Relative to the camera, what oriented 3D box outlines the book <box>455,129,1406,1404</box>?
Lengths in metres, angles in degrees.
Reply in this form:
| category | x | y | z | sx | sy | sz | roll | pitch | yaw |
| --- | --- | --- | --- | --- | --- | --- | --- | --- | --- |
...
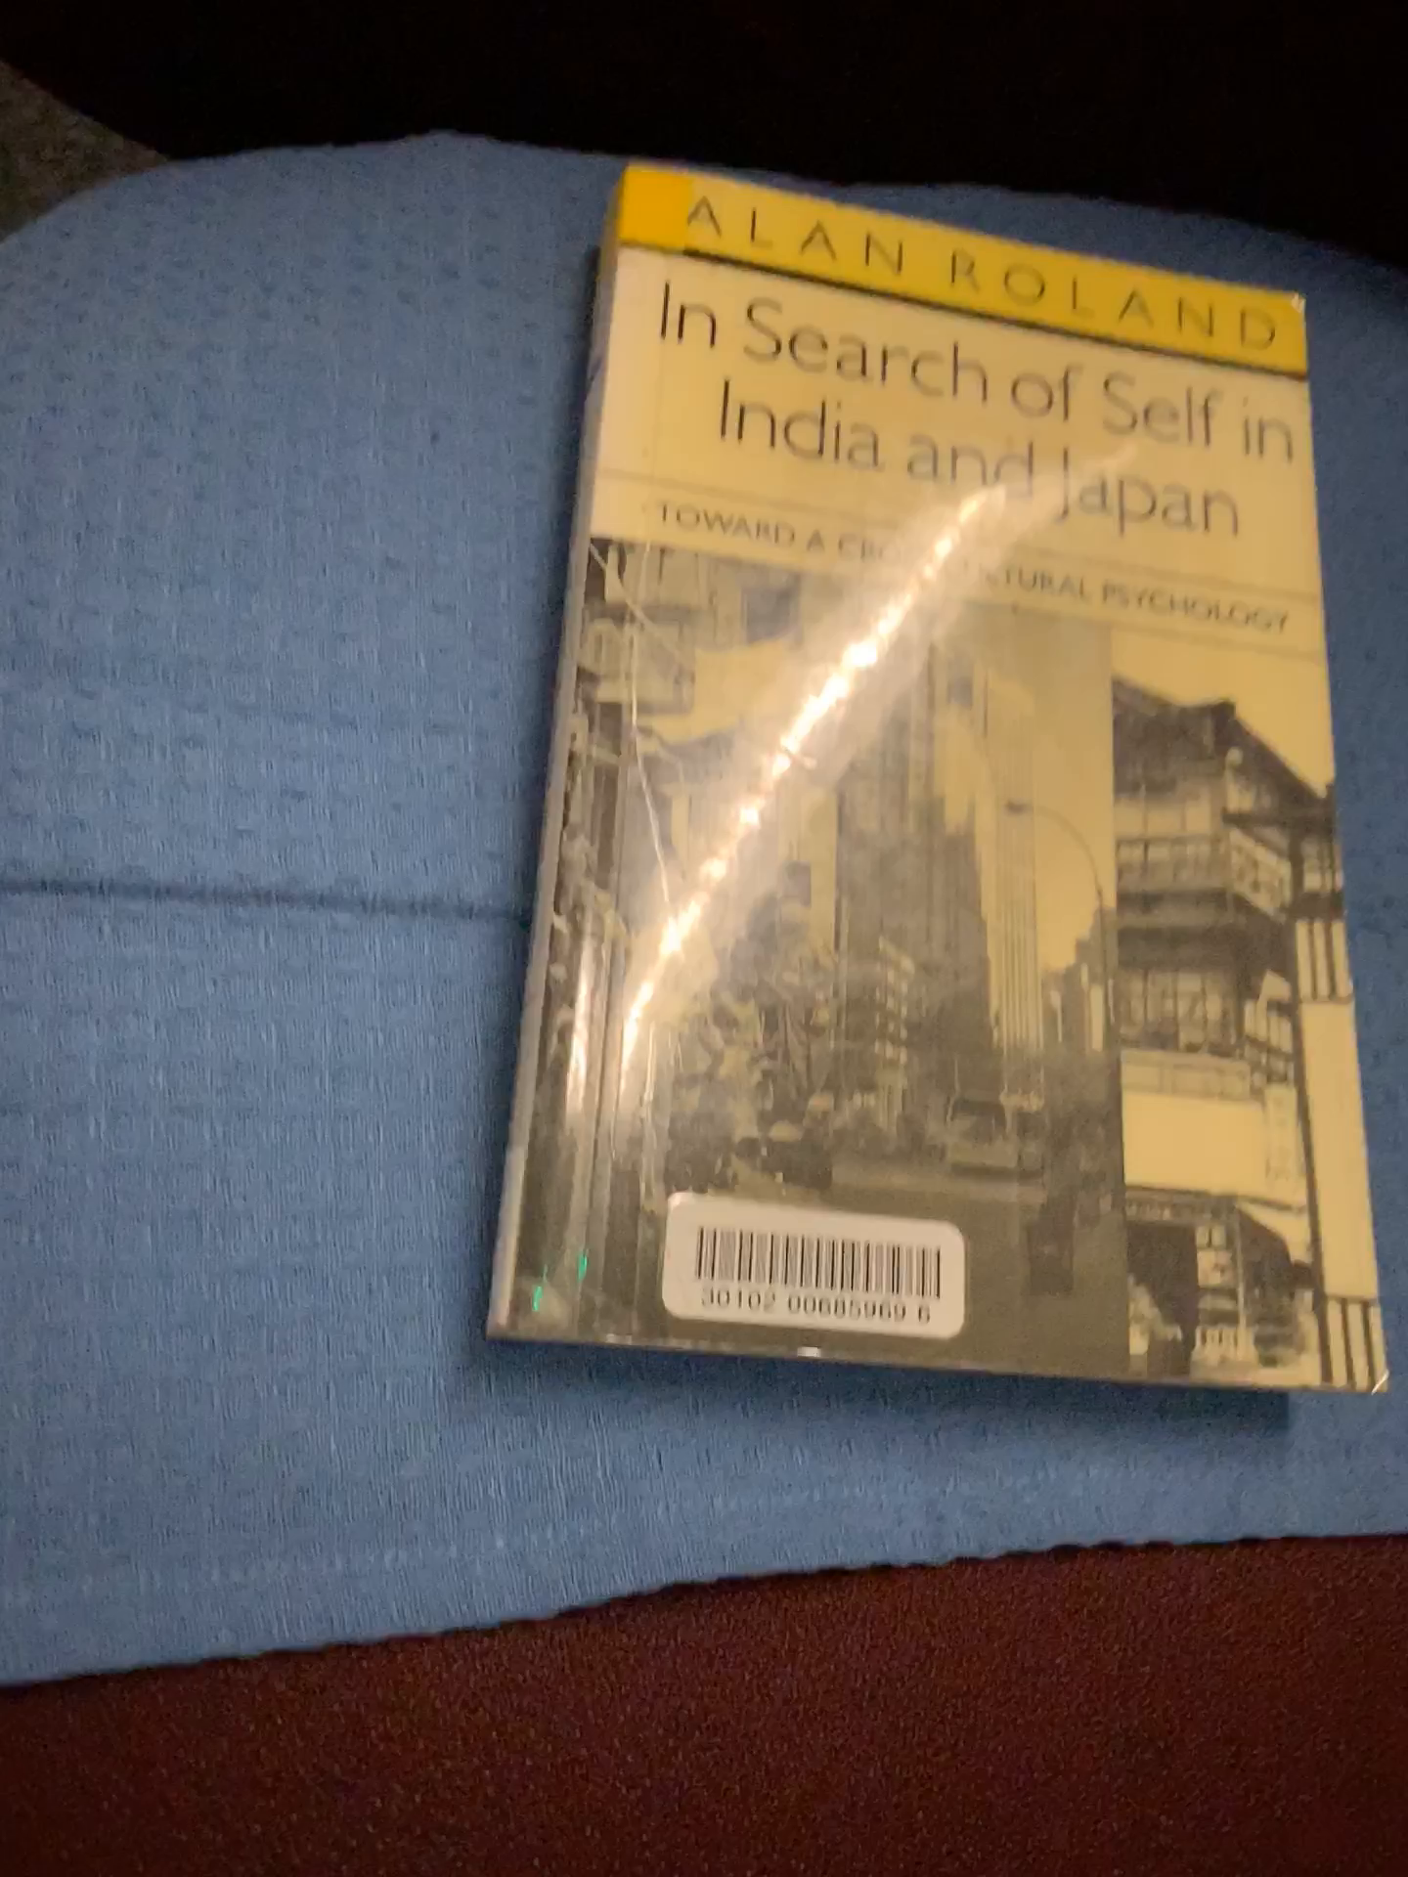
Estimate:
| category | x | y | z | sx | sy | sz | roll | pitch | yaw |
| --- | --- | --- | --- | --- | --- | --- | --- | --- | --- |
| book | 0.044 | -0.037 | 0.281 | 0.155 | 0.032 | 0.233 | 7 | 70 | -10 |
